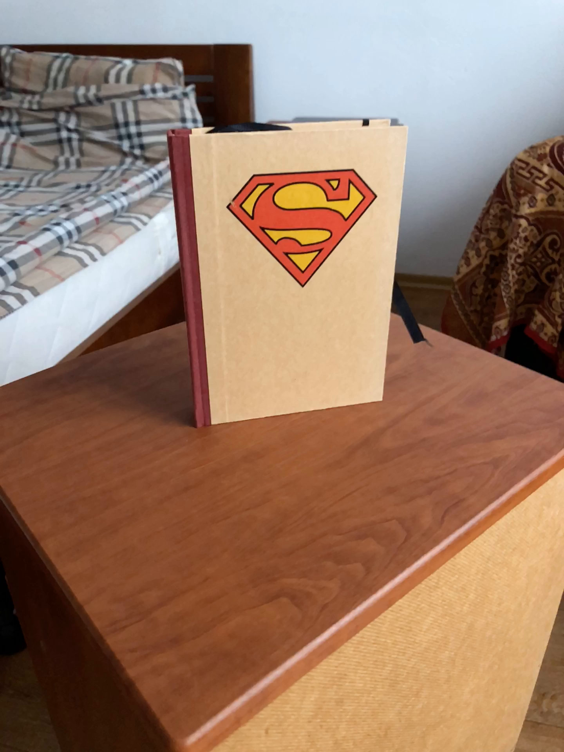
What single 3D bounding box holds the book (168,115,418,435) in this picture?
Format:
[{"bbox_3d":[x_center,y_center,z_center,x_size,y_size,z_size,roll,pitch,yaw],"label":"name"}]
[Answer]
[{"bbox_3d":[0.009,-0.066,0.443,0.154,0.212,0.032,-8,30,-13],"label":"book"}]
